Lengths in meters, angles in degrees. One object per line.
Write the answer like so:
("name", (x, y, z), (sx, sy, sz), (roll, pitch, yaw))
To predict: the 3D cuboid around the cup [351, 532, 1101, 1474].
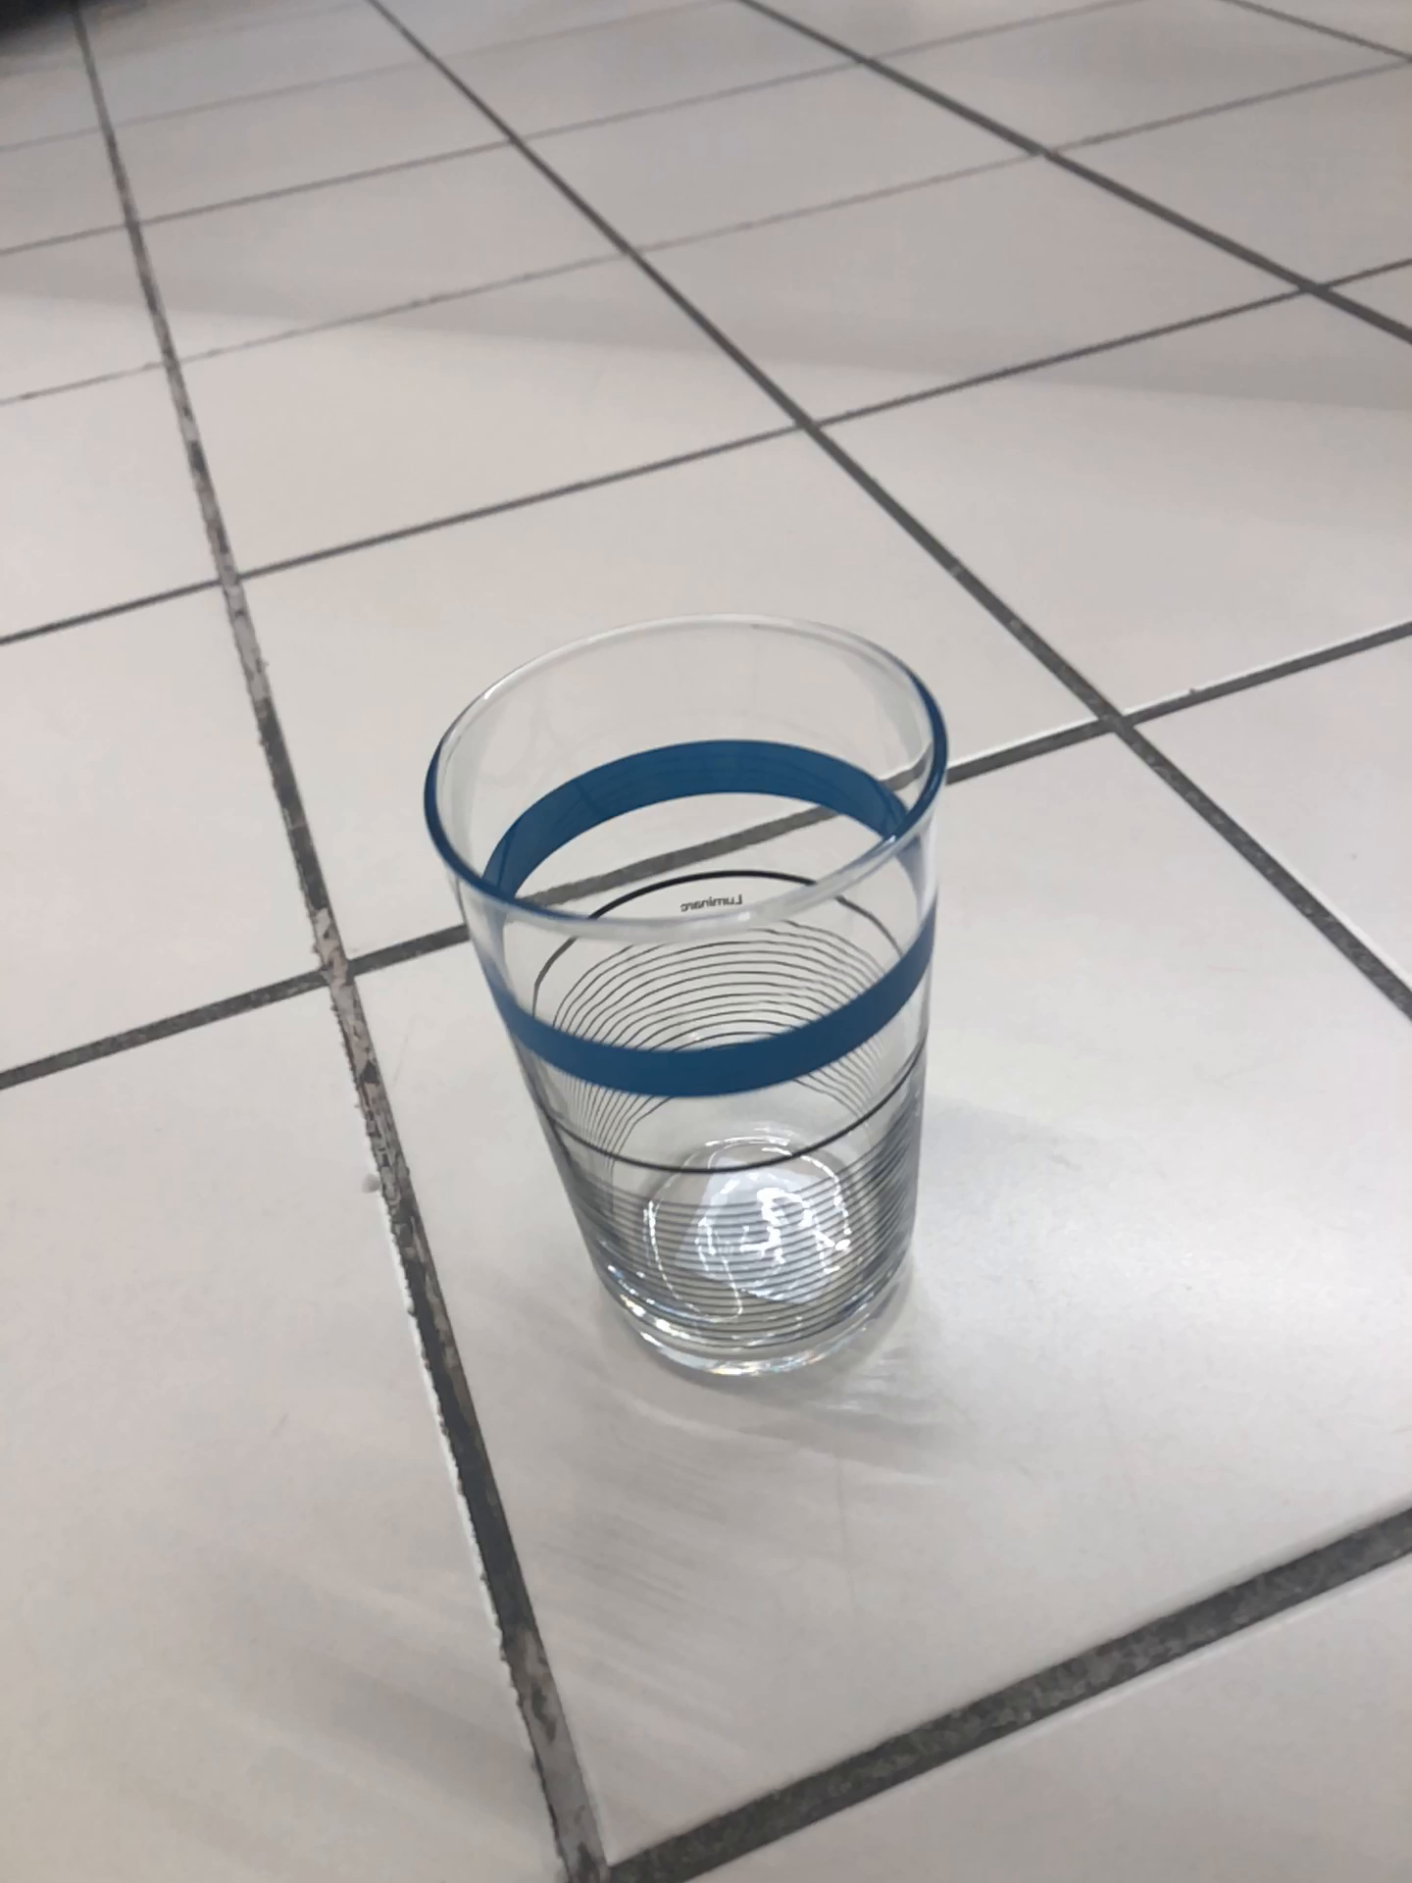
("cup", (0.004, 0.009, 0.246), (0.079, 0.102, 0.080), (-5, 42, 5))
